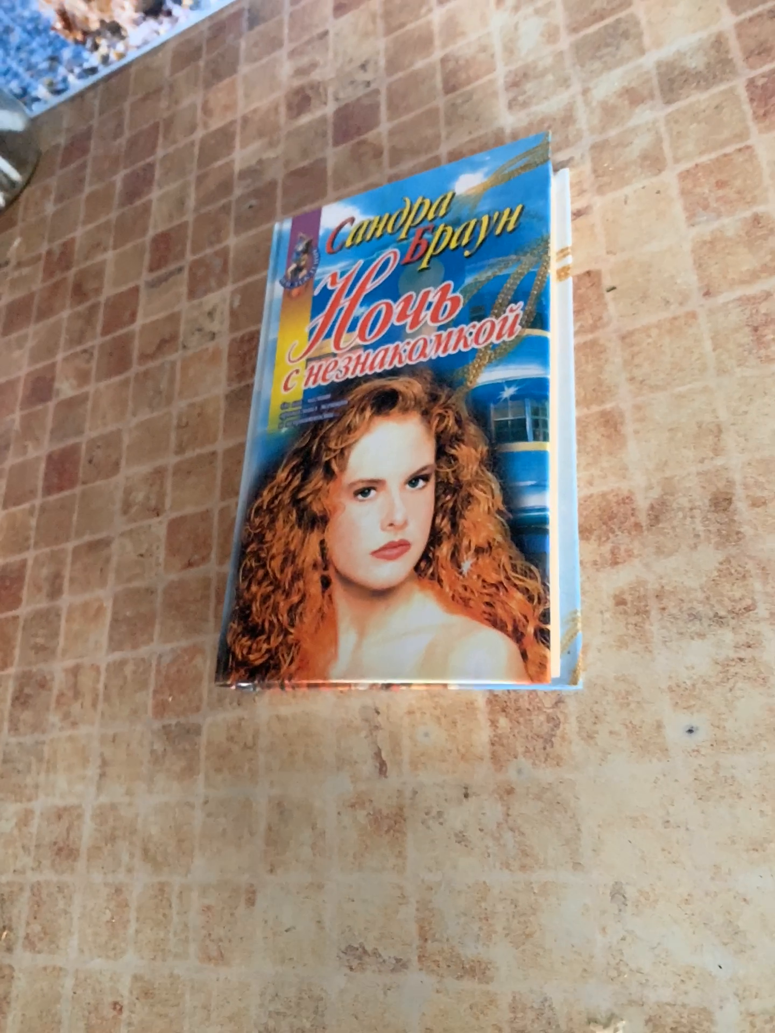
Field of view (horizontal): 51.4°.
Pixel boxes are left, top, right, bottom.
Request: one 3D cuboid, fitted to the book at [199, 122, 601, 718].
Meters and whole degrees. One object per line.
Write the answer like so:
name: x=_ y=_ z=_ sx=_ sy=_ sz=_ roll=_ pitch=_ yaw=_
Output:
book: x=0.007 y=-0.033 z=0.288 sx=0.130 sy=0.029 sz=0.198 roll=-6 pitch=68 yaw=29
